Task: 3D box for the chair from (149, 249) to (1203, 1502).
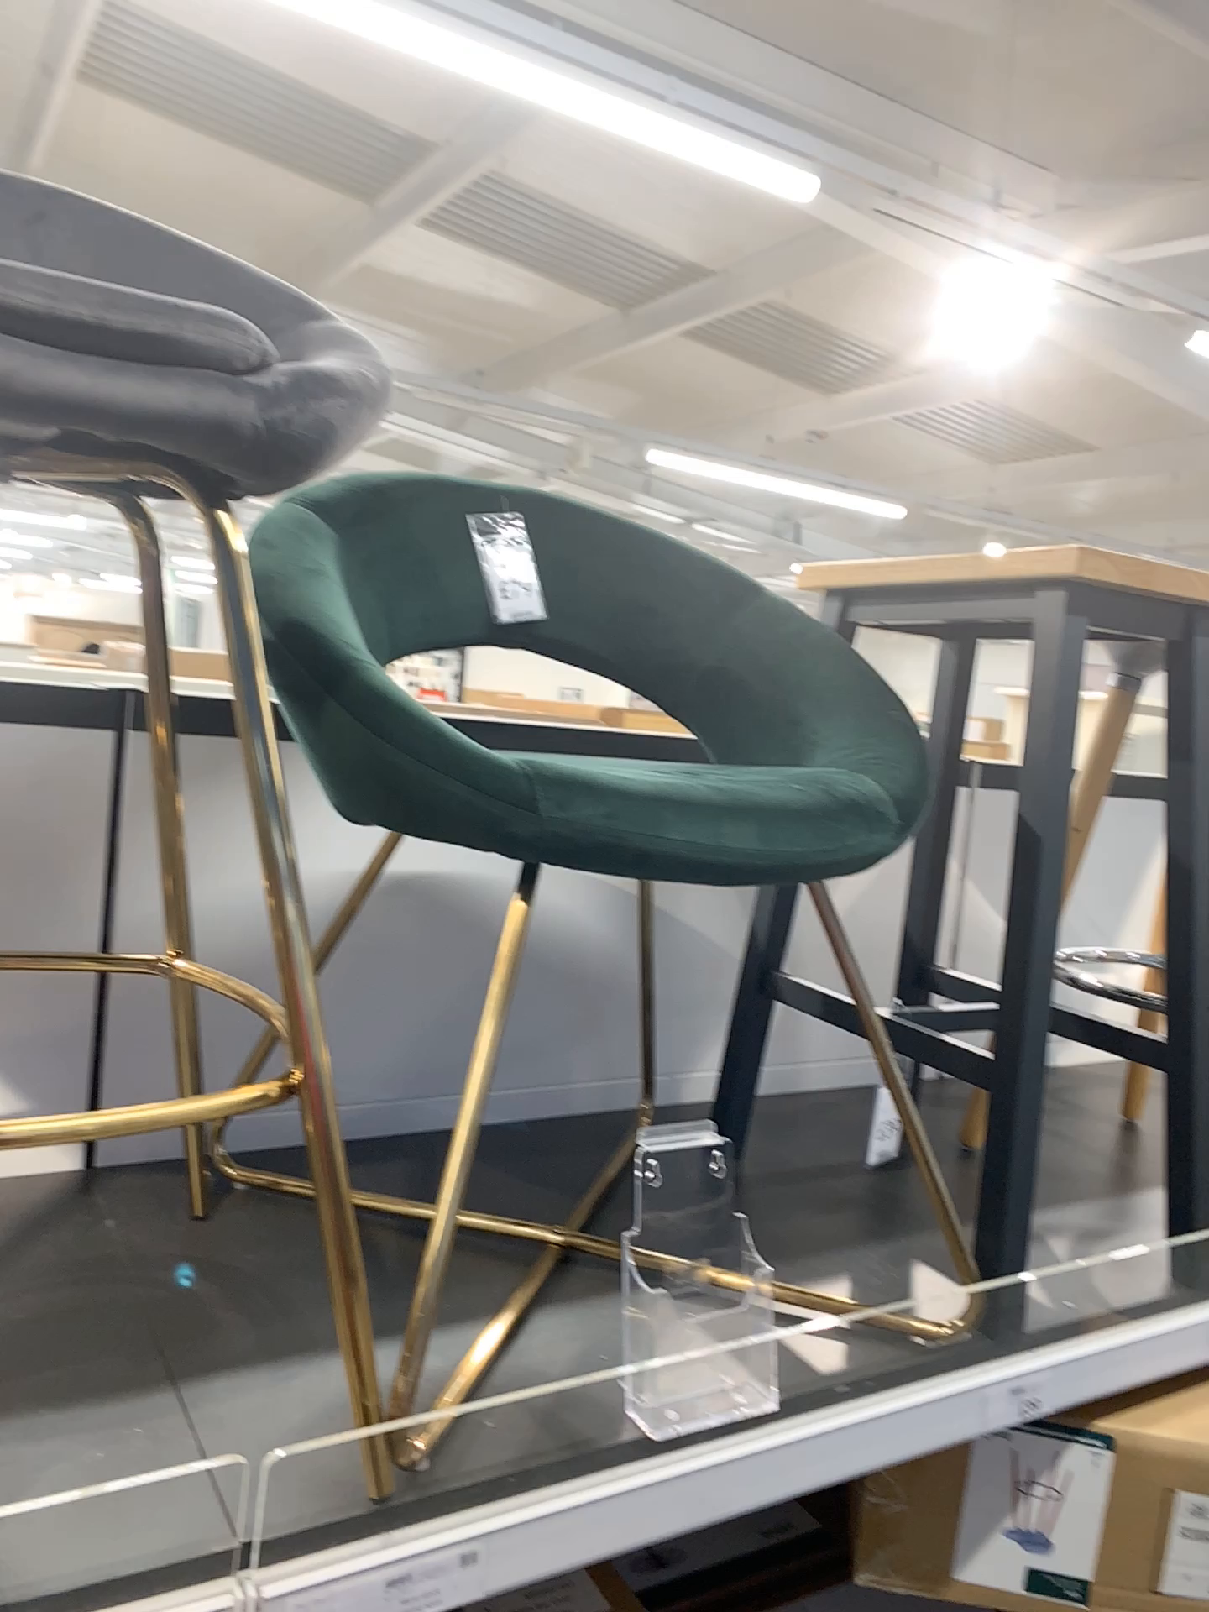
[{"bbox_3d":[0.002,0.023,1.131,0.634,0.699,0.670,3,4,-30],"label":"chair"}]
